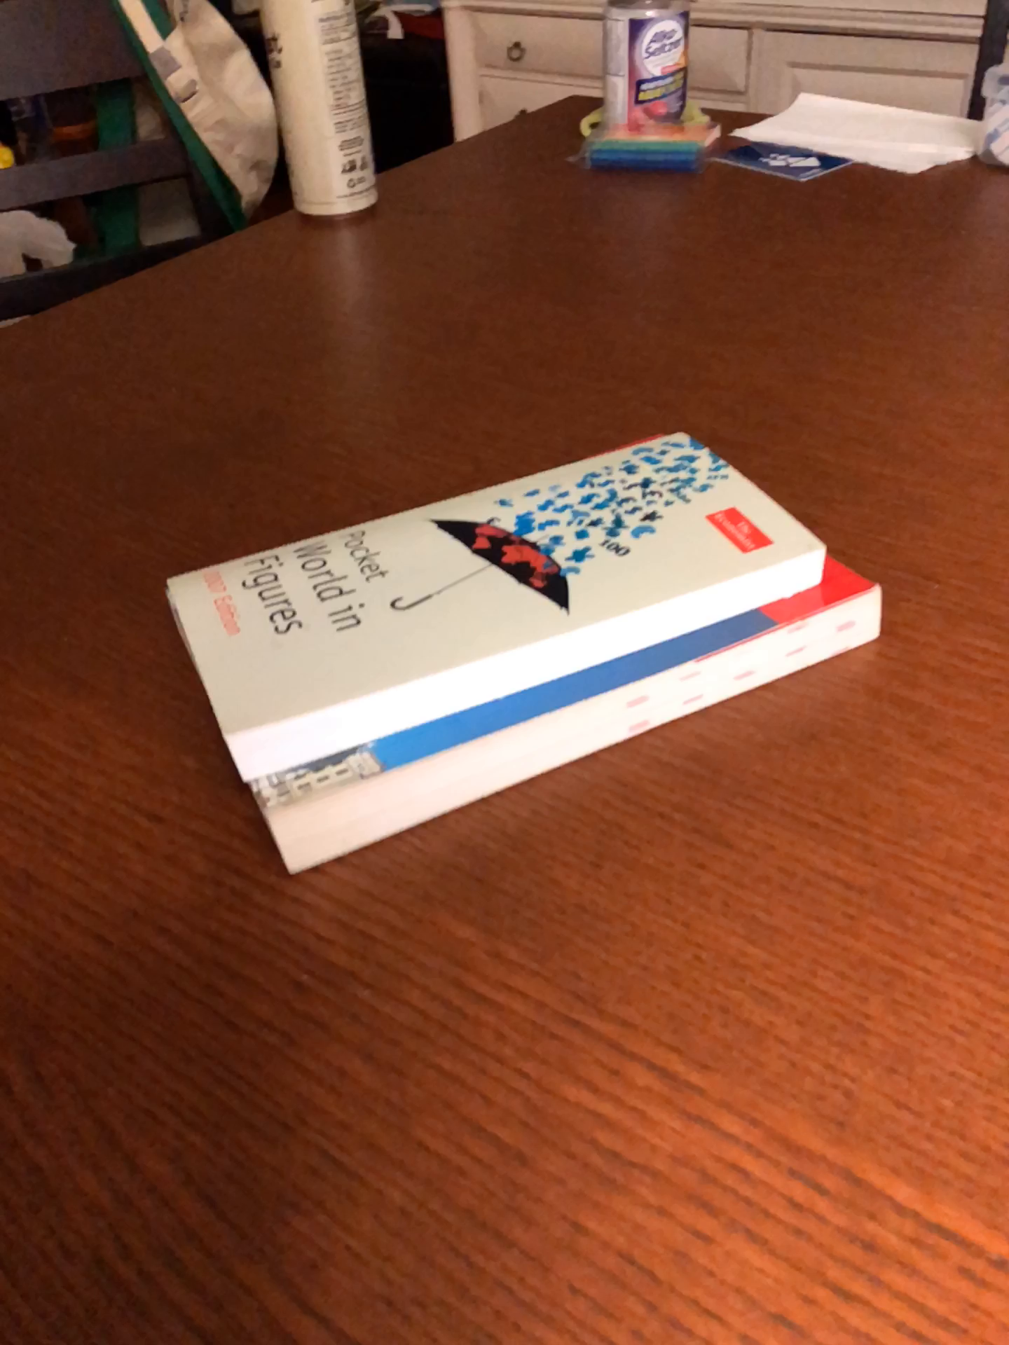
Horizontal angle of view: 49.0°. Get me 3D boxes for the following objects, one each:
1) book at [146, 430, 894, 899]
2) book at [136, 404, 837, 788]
[{"bbox_3d":[-0.001,-0.019,0.376,0.210,0.020,0.141,-20,41,-17],"label":"book"},{"bbox_3d":[-0.008,-0.035,0.358,0.200,0.020,0.101,-18,41,-15],"label":"book"}]
